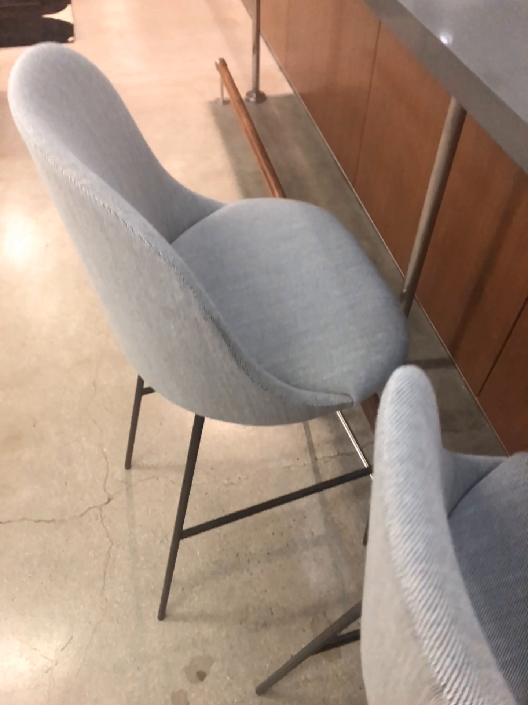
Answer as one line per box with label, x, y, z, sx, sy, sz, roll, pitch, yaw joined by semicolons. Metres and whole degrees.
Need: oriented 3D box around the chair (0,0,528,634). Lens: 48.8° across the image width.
chair;-0.028;-0.004;1.067;0.631;1.091;0.513;-13;51;-12
